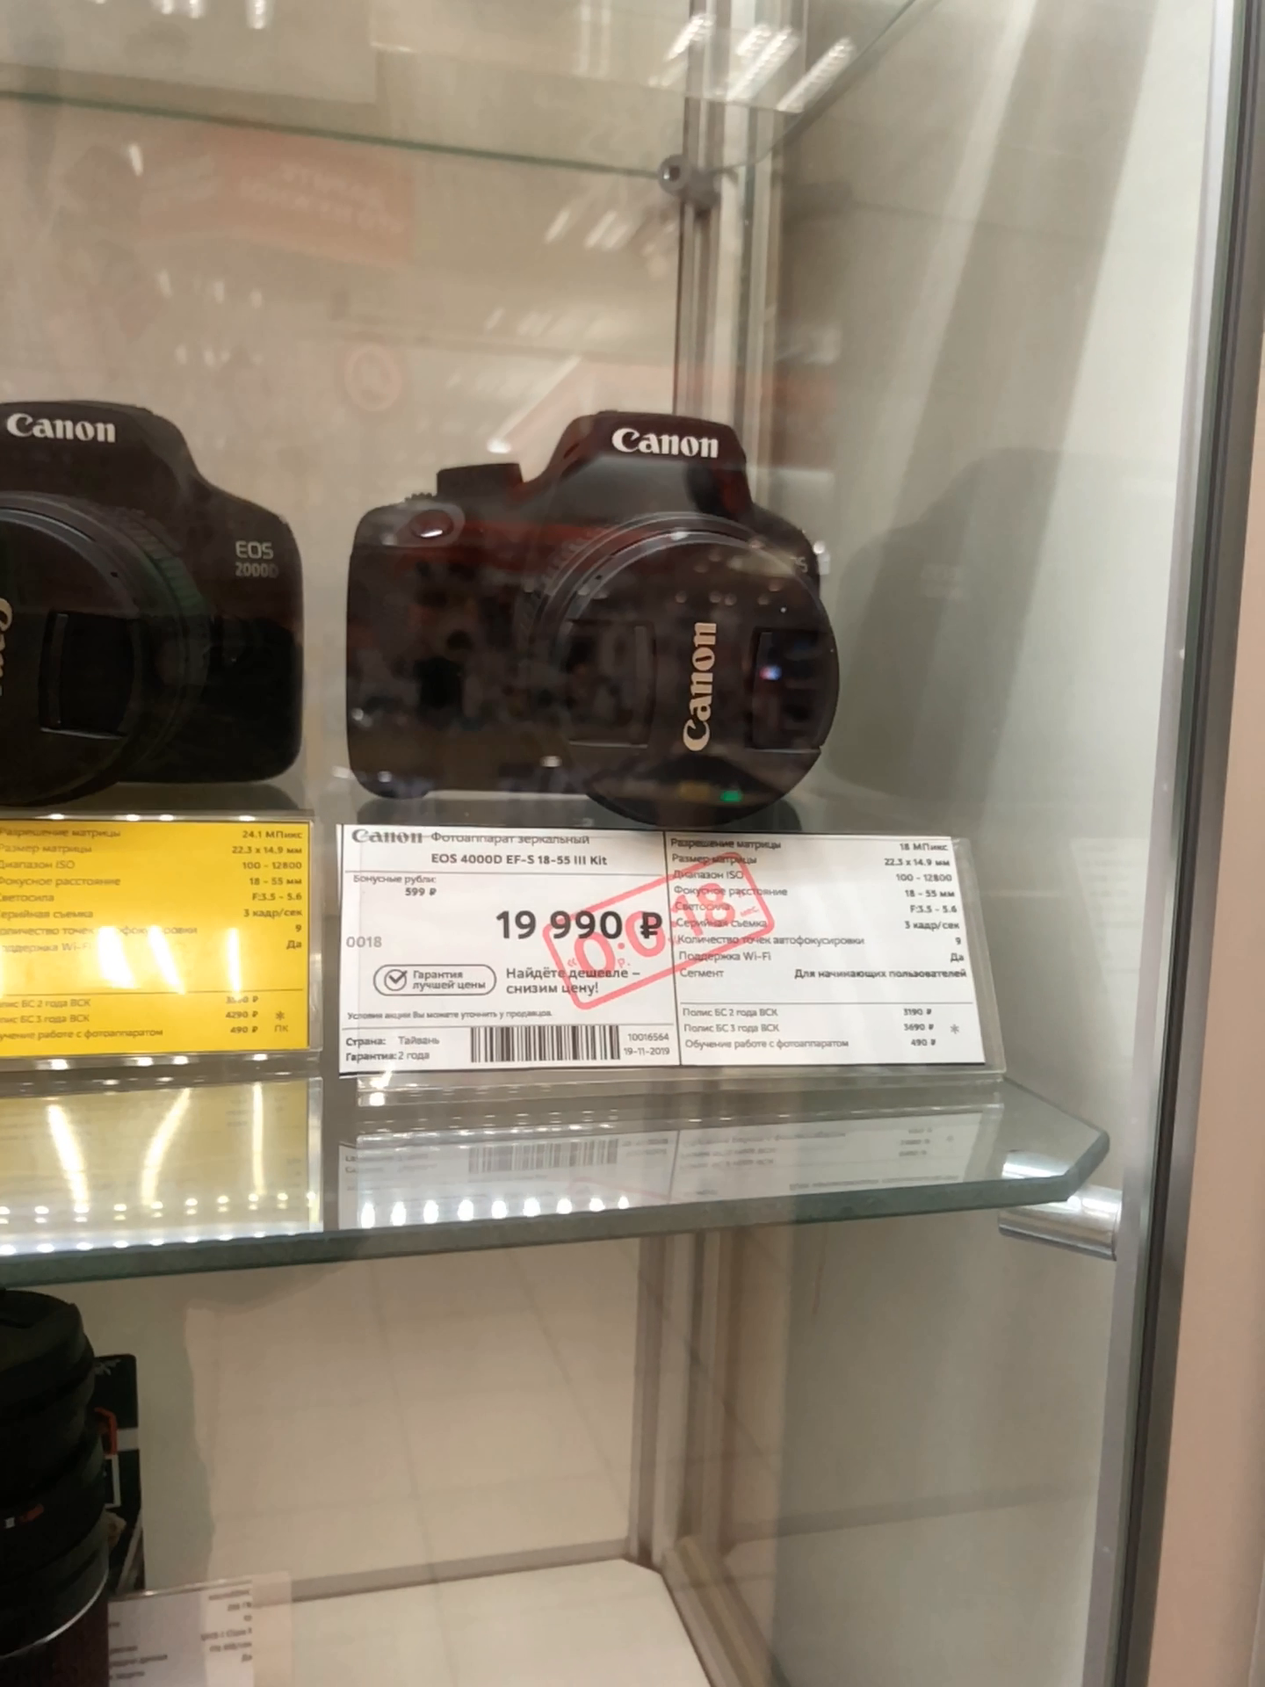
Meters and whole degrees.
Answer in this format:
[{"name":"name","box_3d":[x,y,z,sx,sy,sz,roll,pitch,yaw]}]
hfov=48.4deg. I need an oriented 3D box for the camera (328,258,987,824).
[{"name":"camera","box_3d":[-0.008,-0.063,0.342,0.125,0.100,0.147,1,6,-13]}]
